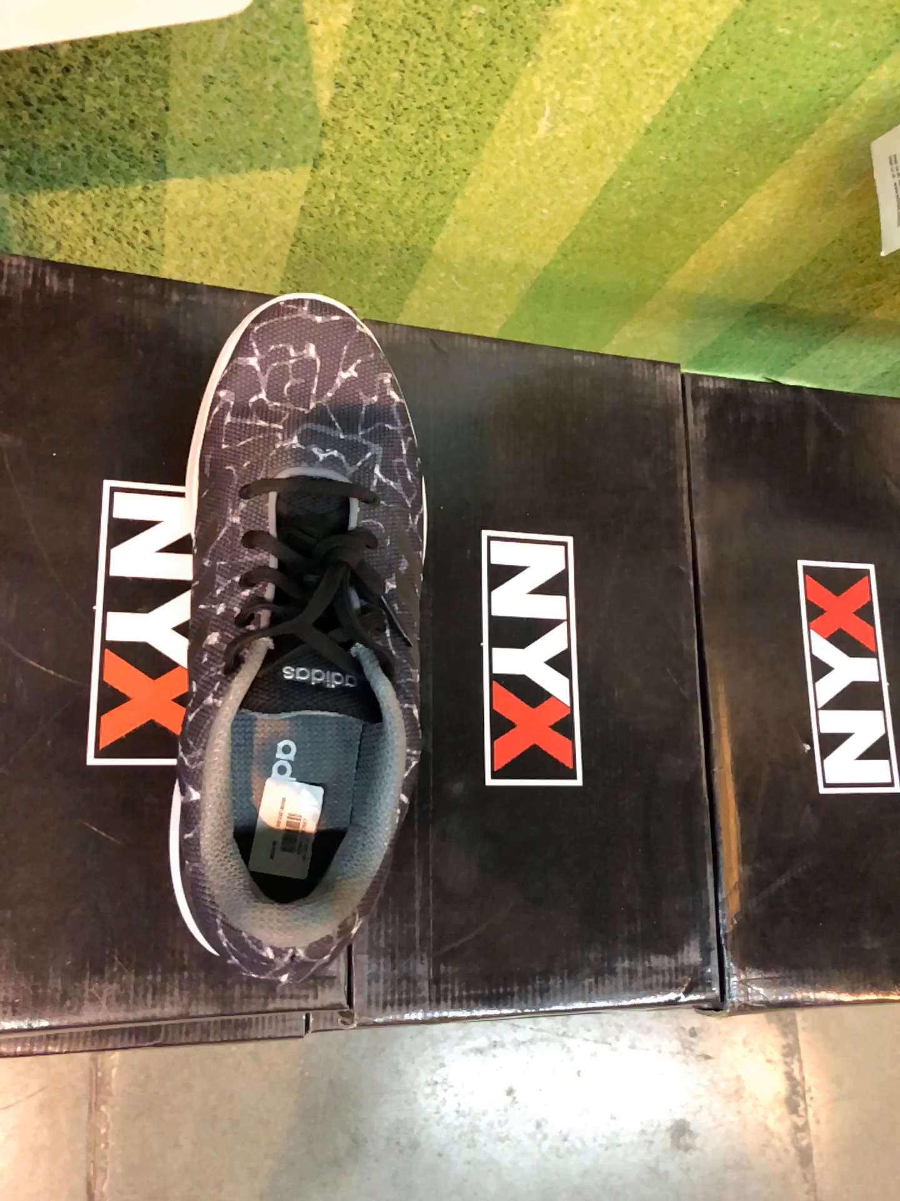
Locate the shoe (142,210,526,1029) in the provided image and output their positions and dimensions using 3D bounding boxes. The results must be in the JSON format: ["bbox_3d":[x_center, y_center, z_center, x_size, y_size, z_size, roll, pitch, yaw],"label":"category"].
[{"bbox_3d":[-0.046,0.012,0.380,0.109,0.122,0.261,6,75,-16],"label":"shoe"}]
